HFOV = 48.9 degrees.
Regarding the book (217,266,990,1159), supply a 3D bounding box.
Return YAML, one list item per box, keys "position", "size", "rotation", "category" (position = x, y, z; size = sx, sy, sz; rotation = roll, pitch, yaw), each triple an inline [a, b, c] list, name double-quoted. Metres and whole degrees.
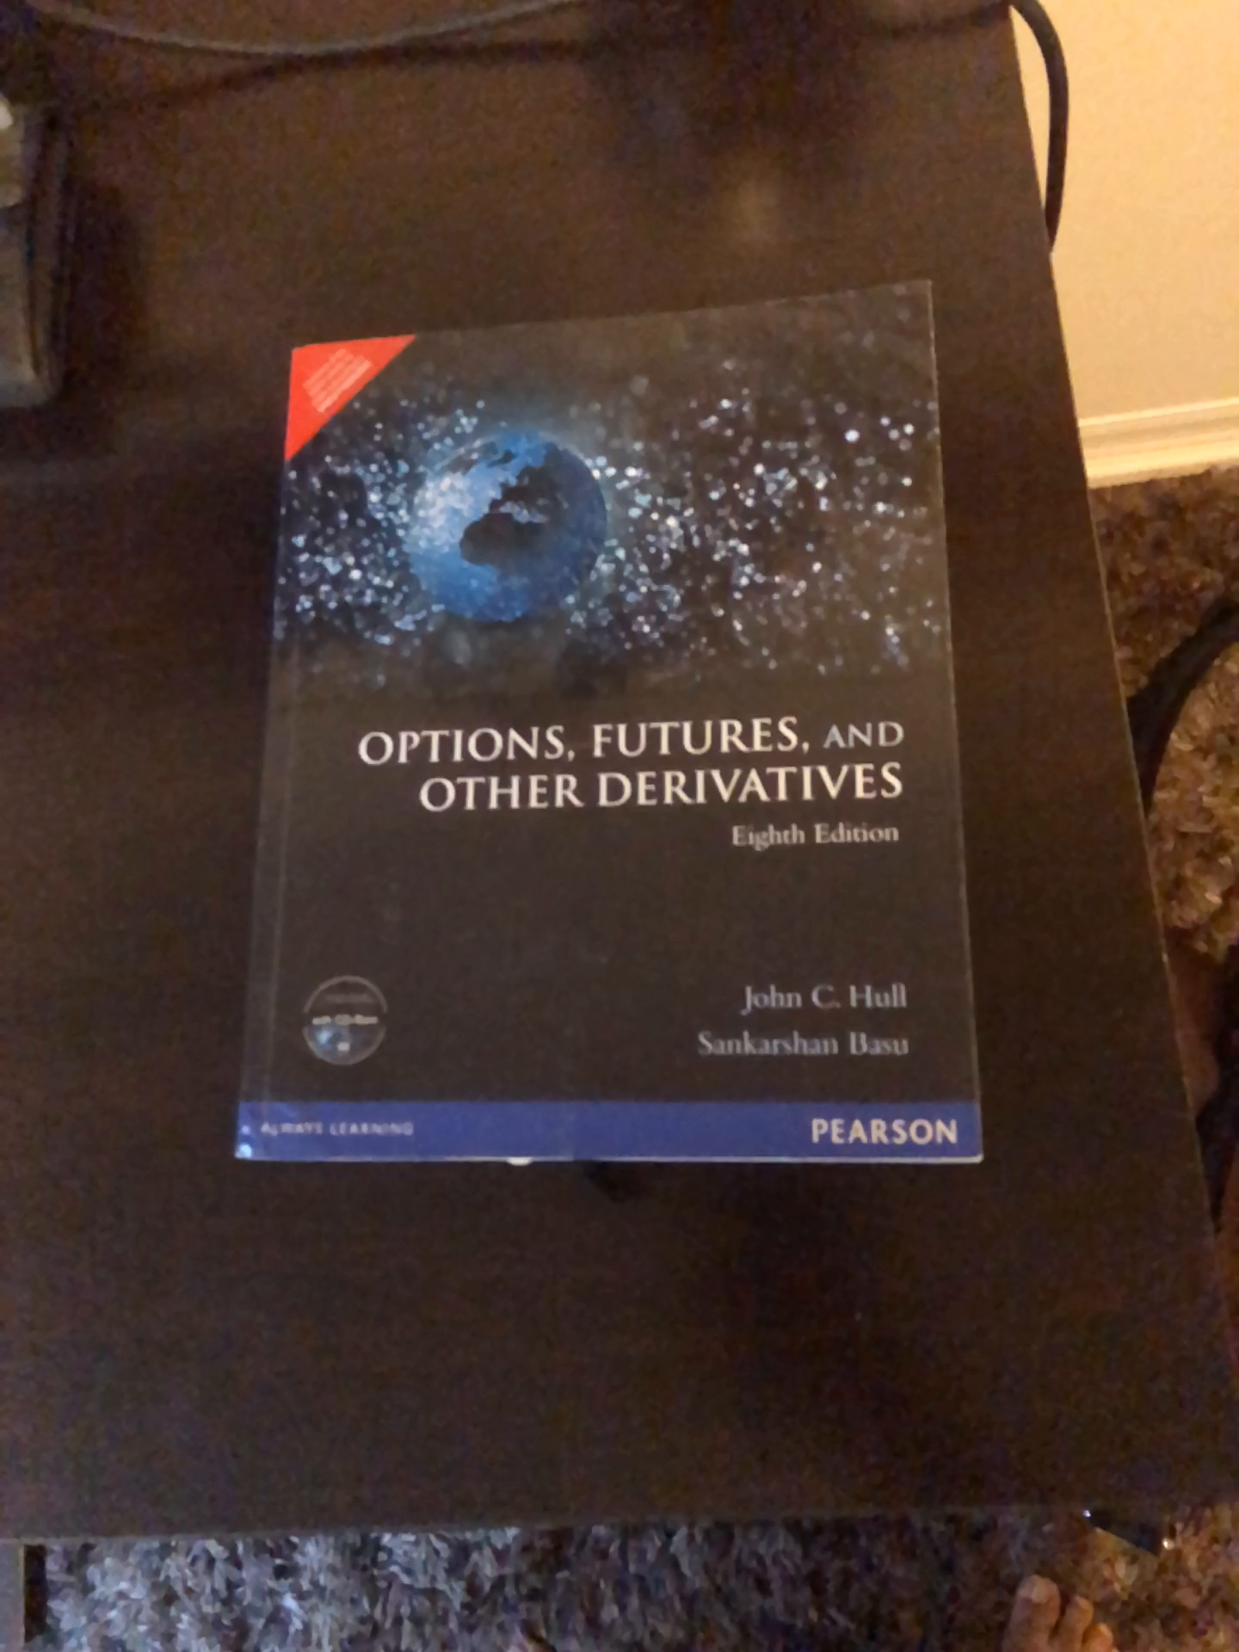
- position: [-0.004, -0.033, 0.417]
  size: [0.207, 0.050, 0.261]
  rotation: [-2, 76, 7]
  category: "book"
